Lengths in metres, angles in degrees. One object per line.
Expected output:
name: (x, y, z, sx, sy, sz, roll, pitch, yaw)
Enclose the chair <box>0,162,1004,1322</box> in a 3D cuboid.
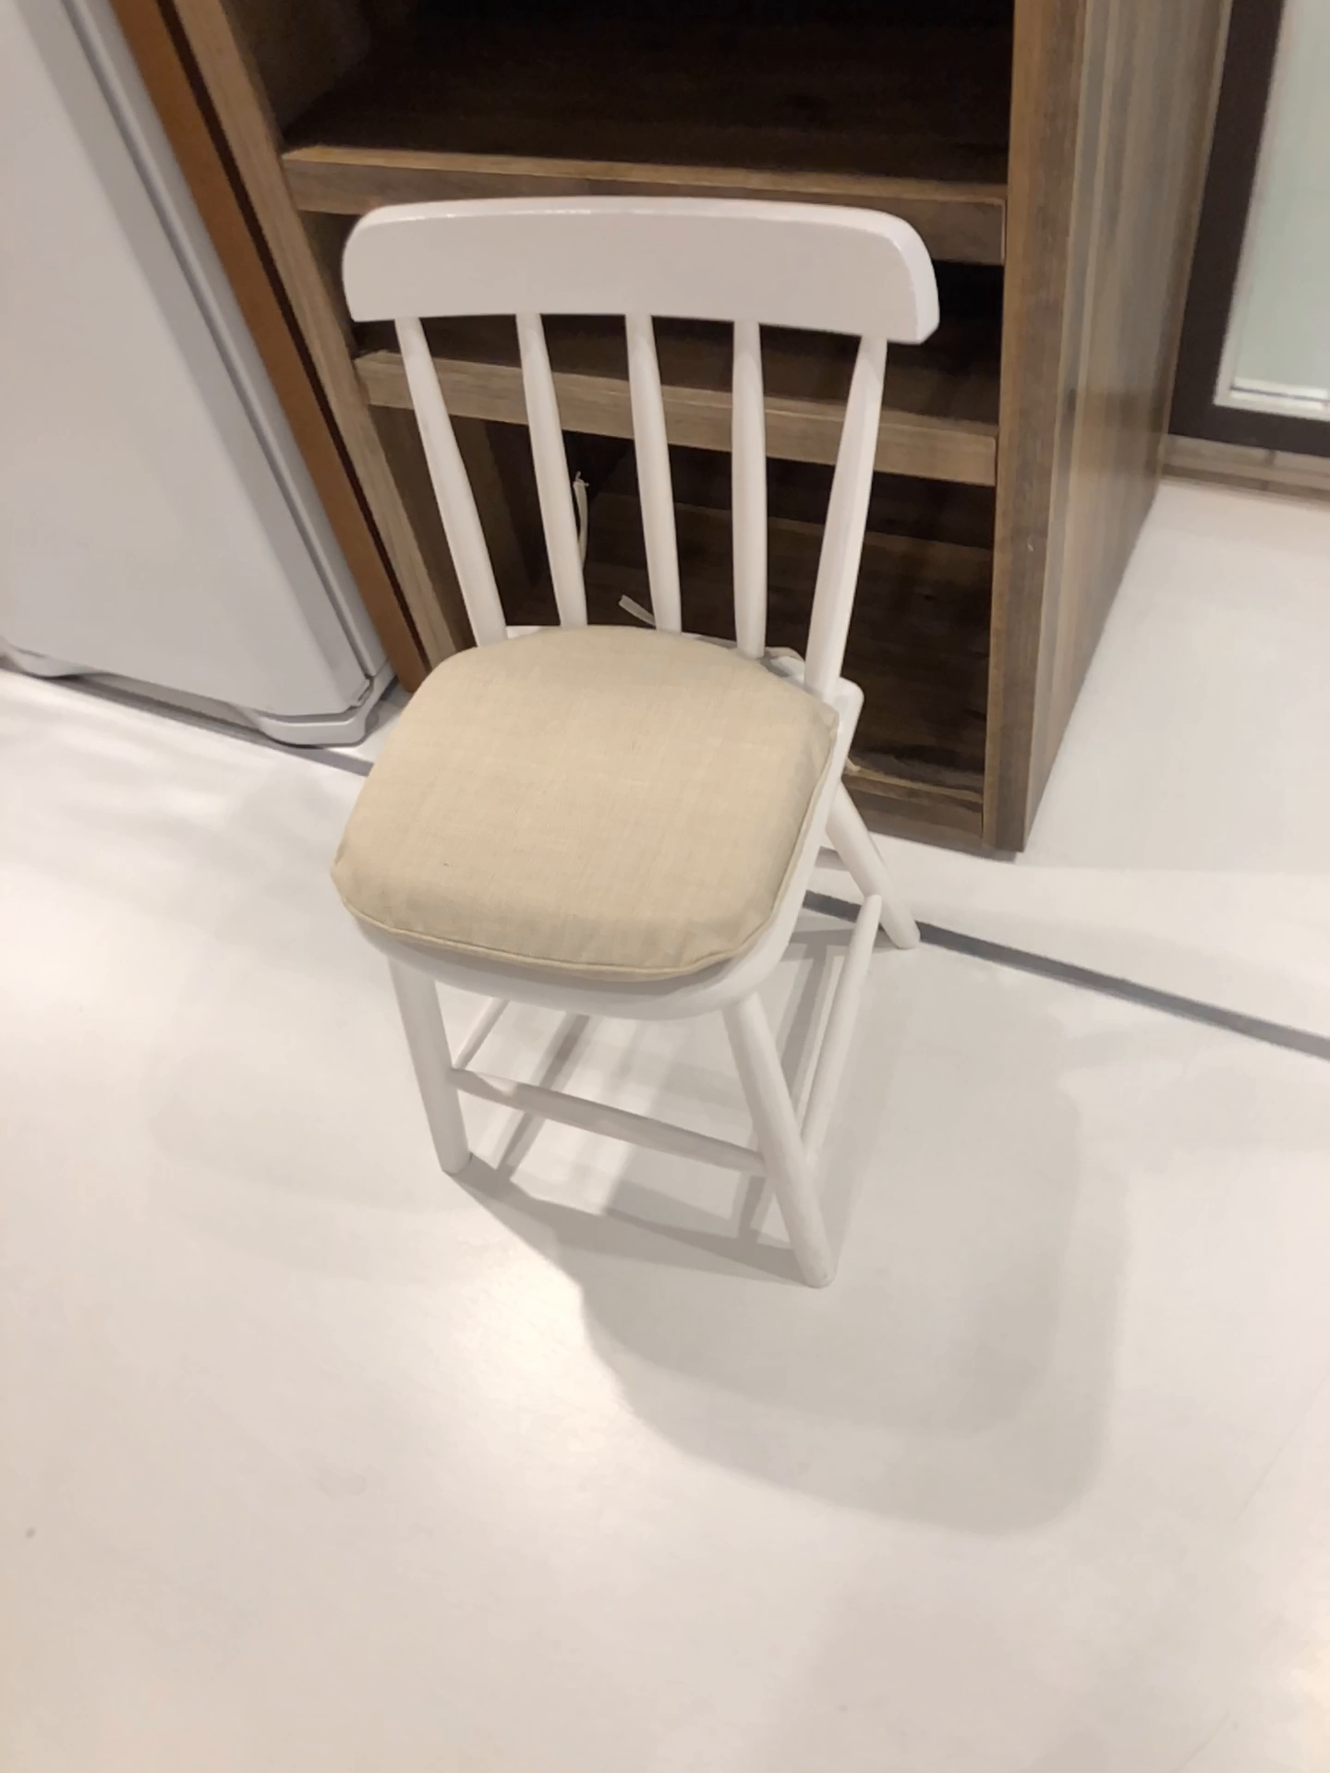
chair: (-0.027, -0.081, 1.152, 0.450, 0.726, 0.482, 12, 56, 19)
